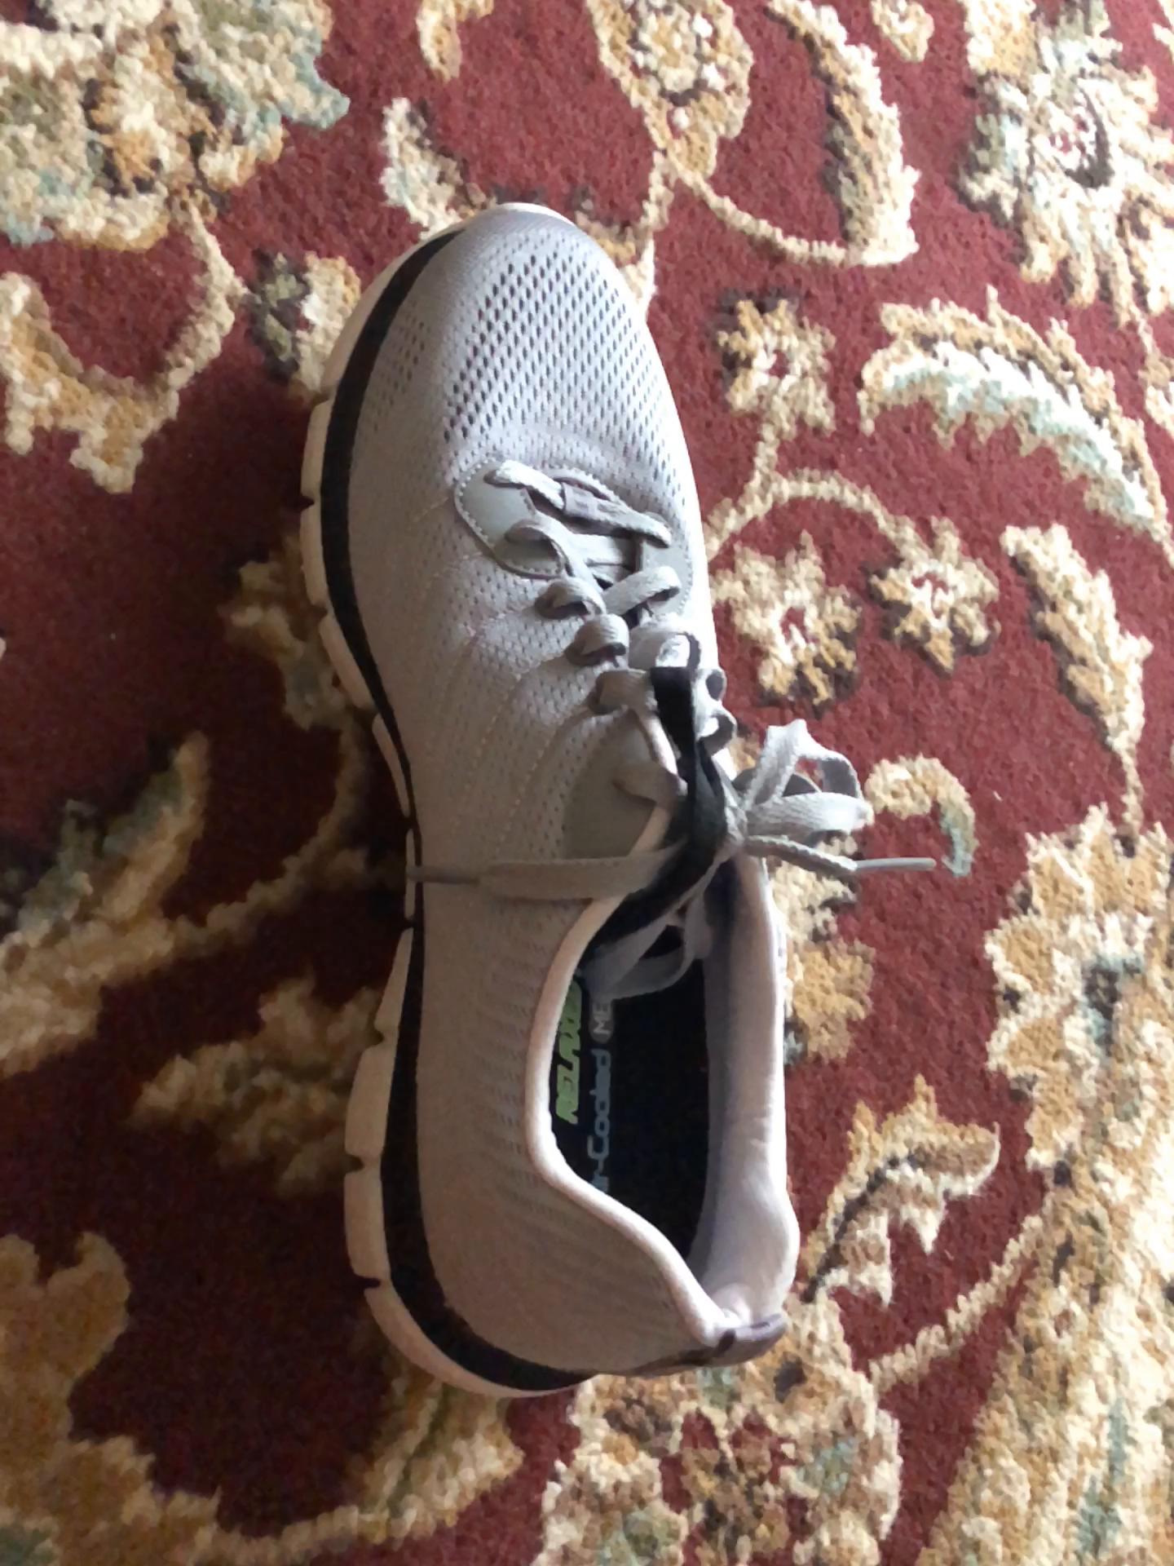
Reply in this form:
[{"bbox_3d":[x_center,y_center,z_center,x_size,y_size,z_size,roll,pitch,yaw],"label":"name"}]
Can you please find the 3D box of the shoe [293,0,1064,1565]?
[{"bbox_3d":[0.005,-0.011,0.296,0.100,0.130,0.300,6,74,-28],"label":"shoe"}]
